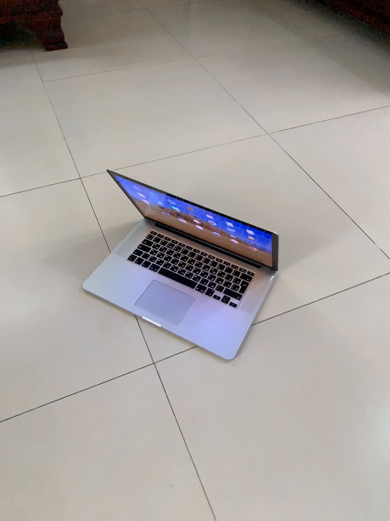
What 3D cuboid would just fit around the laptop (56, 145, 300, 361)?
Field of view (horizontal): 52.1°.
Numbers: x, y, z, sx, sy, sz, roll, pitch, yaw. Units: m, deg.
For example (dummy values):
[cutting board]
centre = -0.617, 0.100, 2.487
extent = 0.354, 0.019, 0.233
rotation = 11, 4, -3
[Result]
[laptop]
centre = -0.028, -0.026, 0.792
extent = 0.359, 0.207, 0.242
rotation = 23, 52, 17
